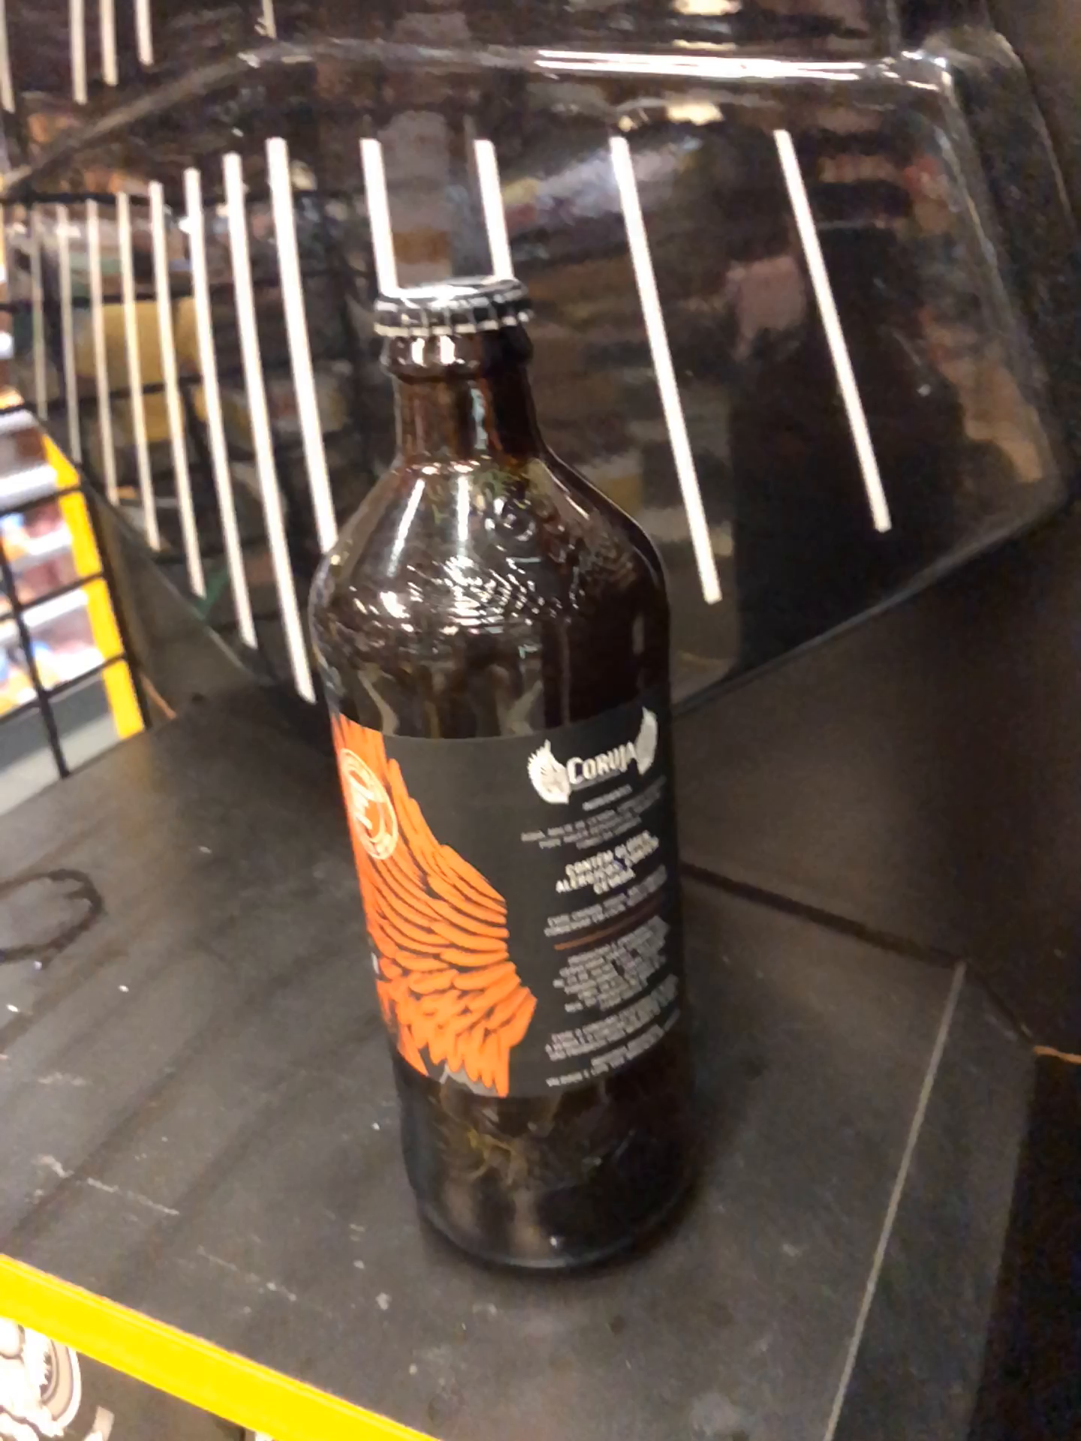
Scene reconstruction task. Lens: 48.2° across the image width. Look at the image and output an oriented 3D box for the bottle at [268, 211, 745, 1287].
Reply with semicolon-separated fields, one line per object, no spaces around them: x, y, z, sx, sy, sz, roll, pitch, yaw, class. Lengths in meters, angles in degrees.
0.002;0.012;0.261;0.070;0.218;0.071;-4;24;2;bottle
